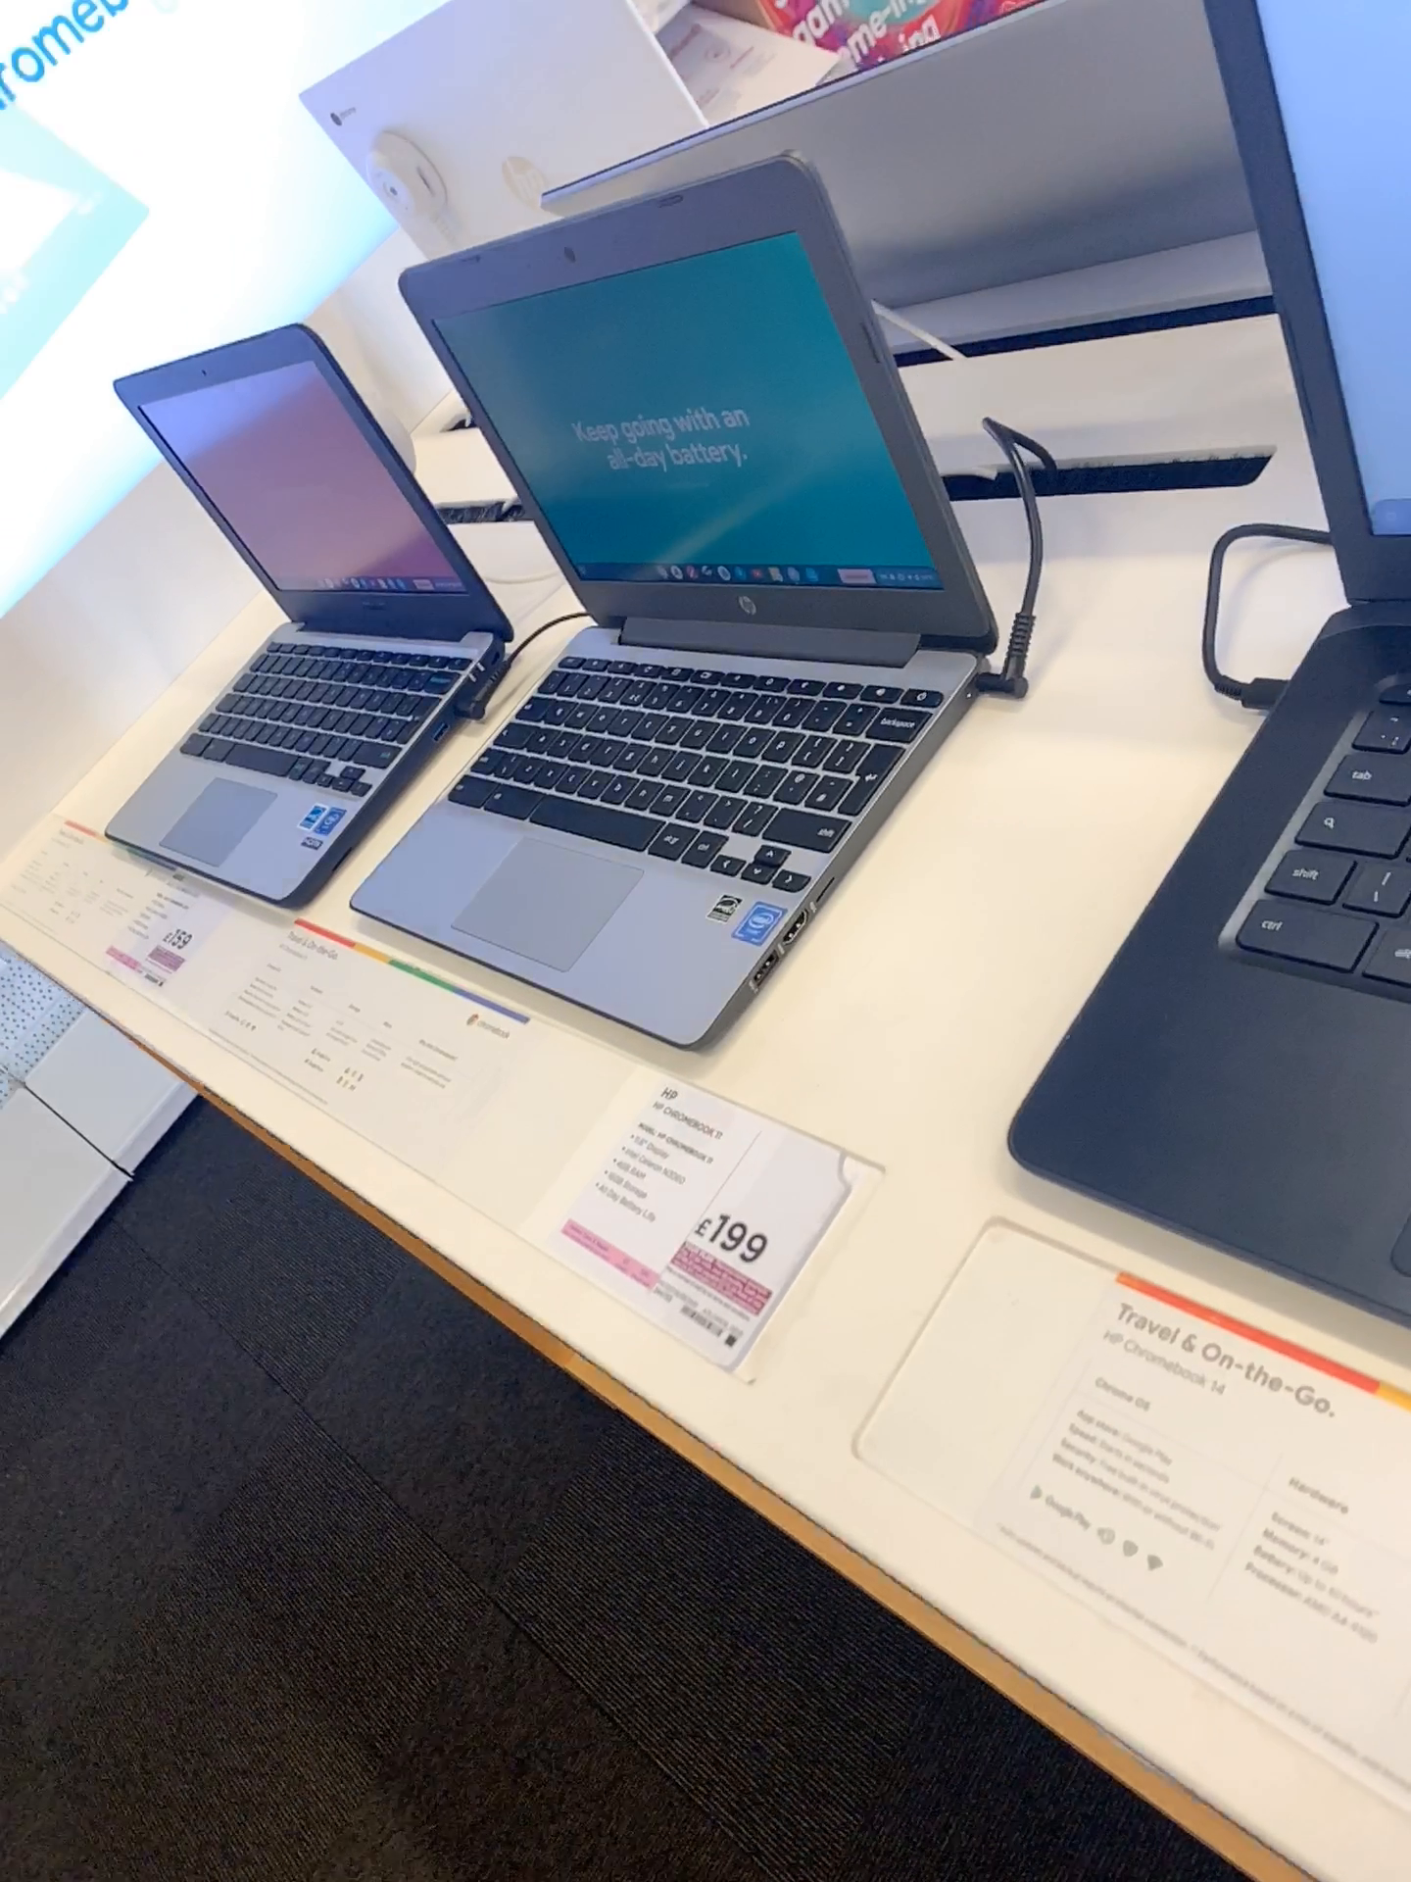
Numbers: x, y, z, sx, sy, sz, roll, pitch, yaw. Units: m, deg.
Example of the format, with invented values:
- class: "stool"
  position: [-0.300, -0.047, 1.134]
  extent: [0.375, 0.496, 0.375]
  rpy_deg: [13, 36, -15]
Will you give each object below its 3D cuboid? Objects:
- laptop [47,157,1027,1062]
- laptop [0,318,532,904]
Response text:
- class: "laptop"
  position: [-0.075, -0.131, 0.585]
  extent: [0.279, 0.185, 0.228]
  rpy_deg: [18, 65, 50]
- class: "laptop"
  position: [-0.297, -0.191, 0.840]
  extent: [0.288, 0.180, 0.221]
  rpy_deg: [16, 65, 49]
